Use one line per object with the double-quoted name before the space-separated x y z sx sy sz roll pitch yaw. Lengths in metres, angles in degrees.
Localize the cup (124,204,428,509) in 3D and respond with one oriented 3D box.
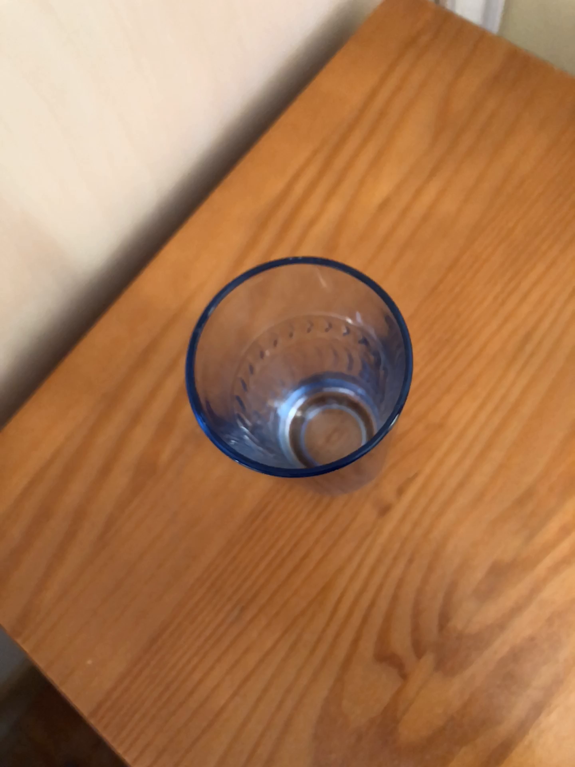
"cup" 0.006 0.001 0.248 0.075 0.130 0.070 -2 74 7
